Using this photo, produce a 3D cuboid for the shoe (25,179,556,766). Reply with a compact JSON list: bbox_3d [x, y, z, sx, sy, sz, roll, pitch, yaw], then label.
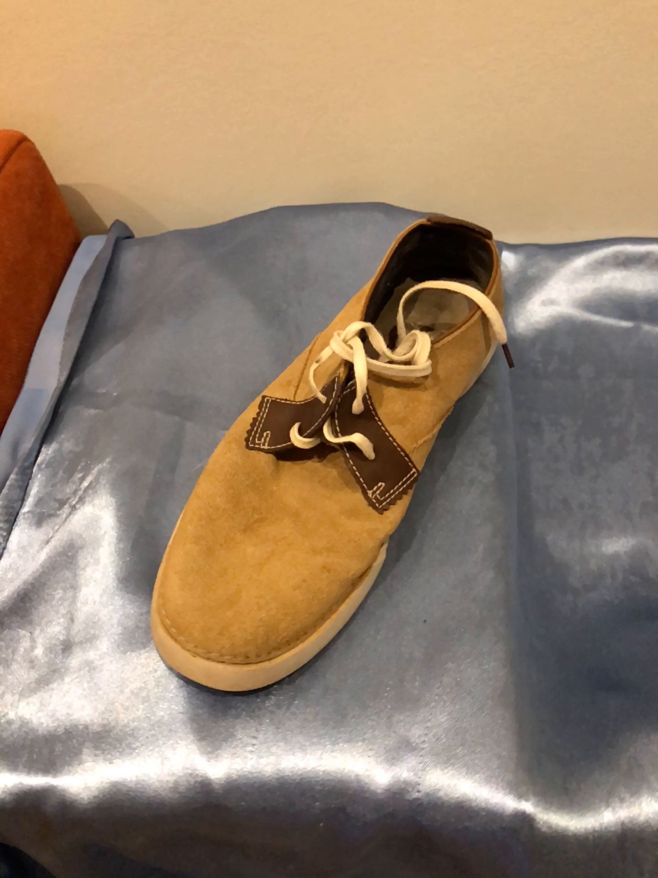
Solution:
[{"bbox_3d":[0.002,0.002,0.415,0.120,0.119,0.301,25,61,23],"label":"shoe"}]
